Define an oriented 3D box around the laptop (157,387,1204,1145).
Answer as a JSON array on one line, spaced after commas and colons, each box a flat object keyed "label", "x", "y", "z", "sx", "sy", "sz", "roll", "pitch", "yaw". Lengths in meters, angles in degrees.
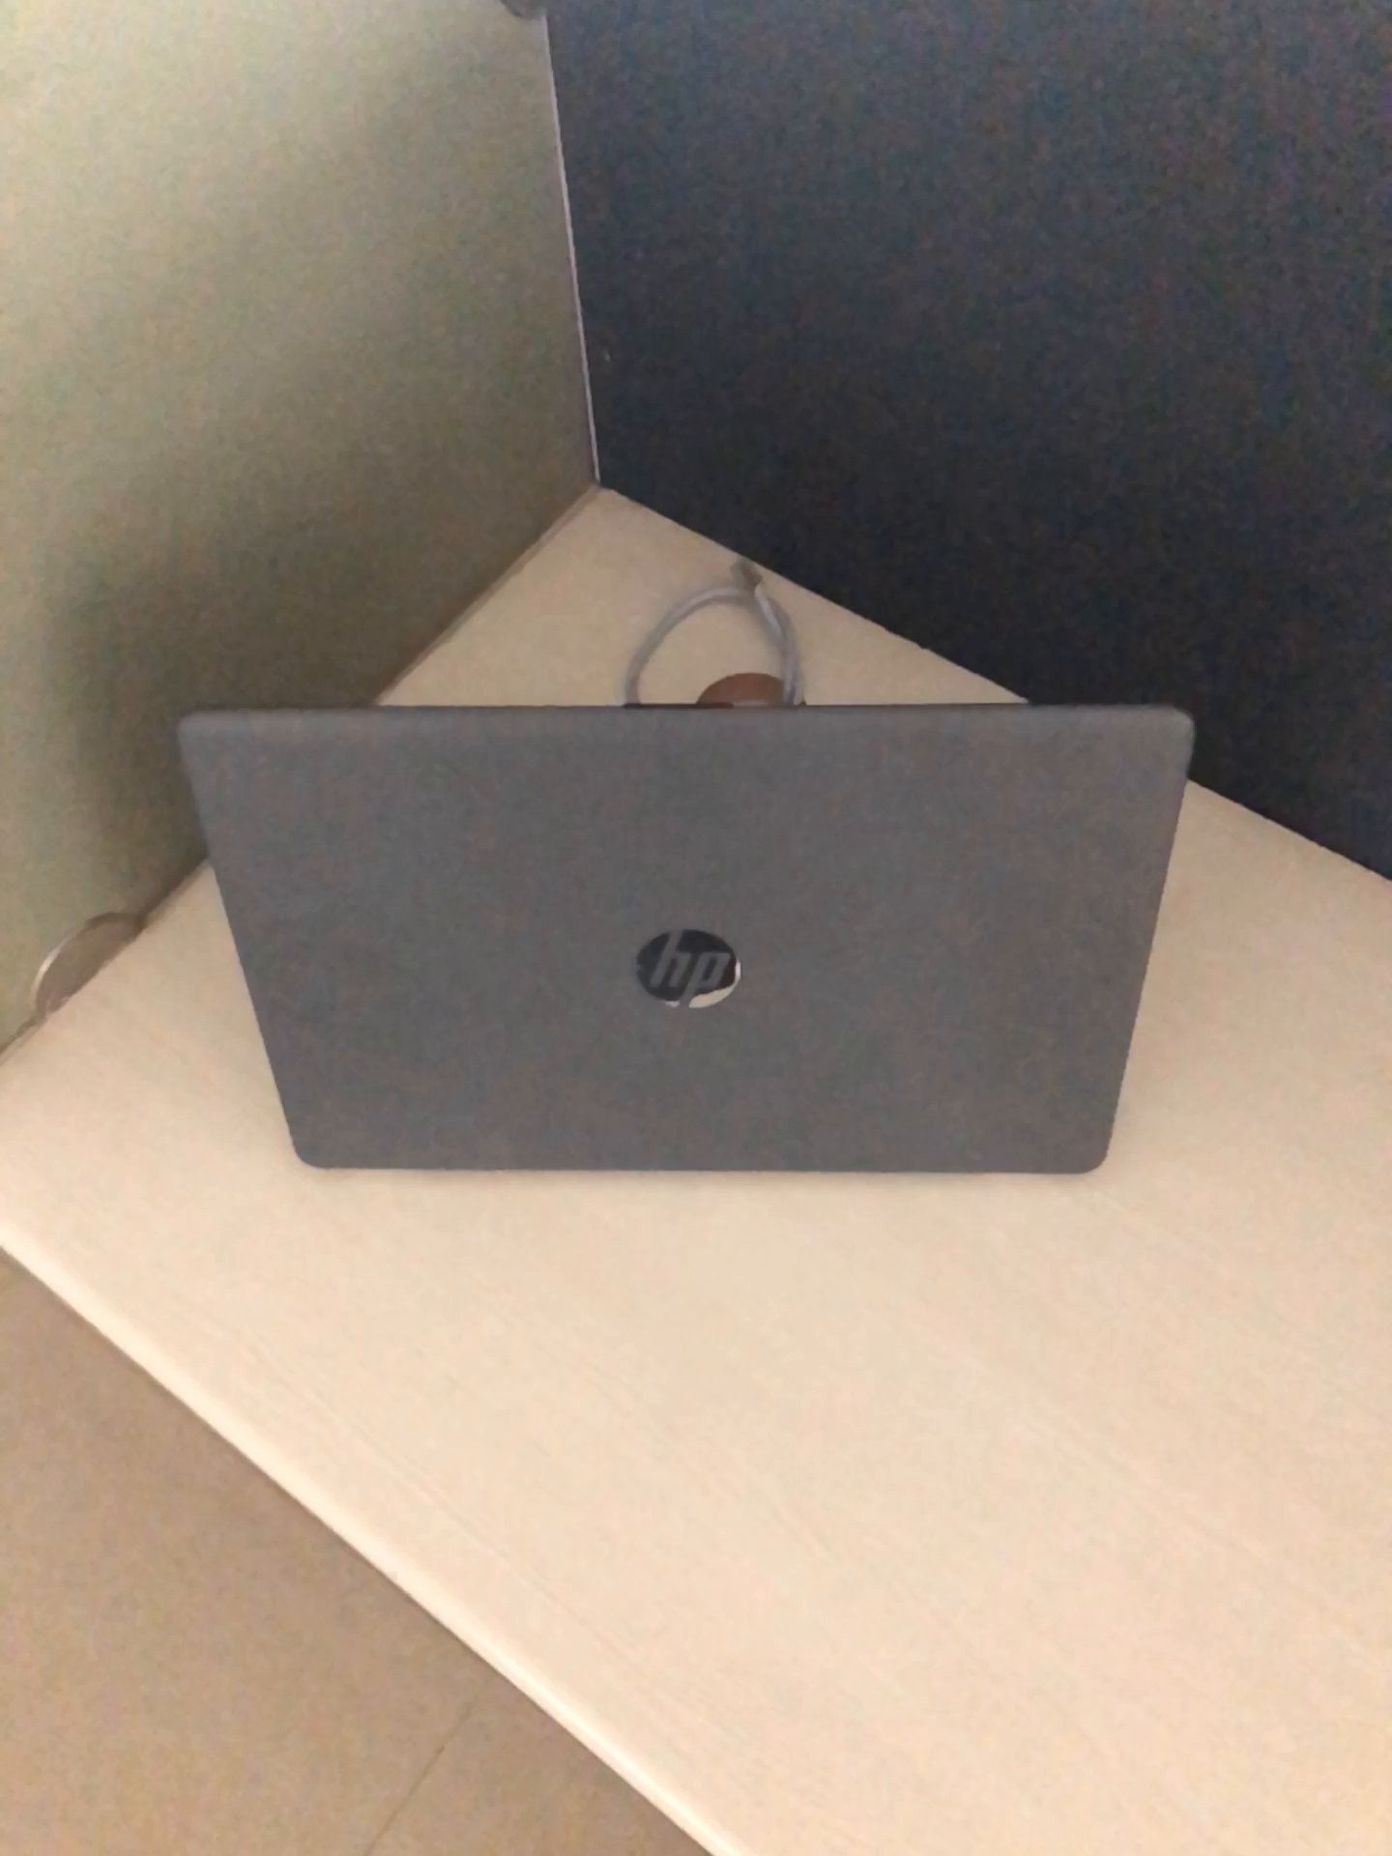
[{"label": "laptop", "x": -0.002, "y": -0.062, "z": 0.676, "sx": 0.359, "sy": 0.216, "sz": 0.239, "roll": 0, "pitch": 59, "yaw": 4}]
